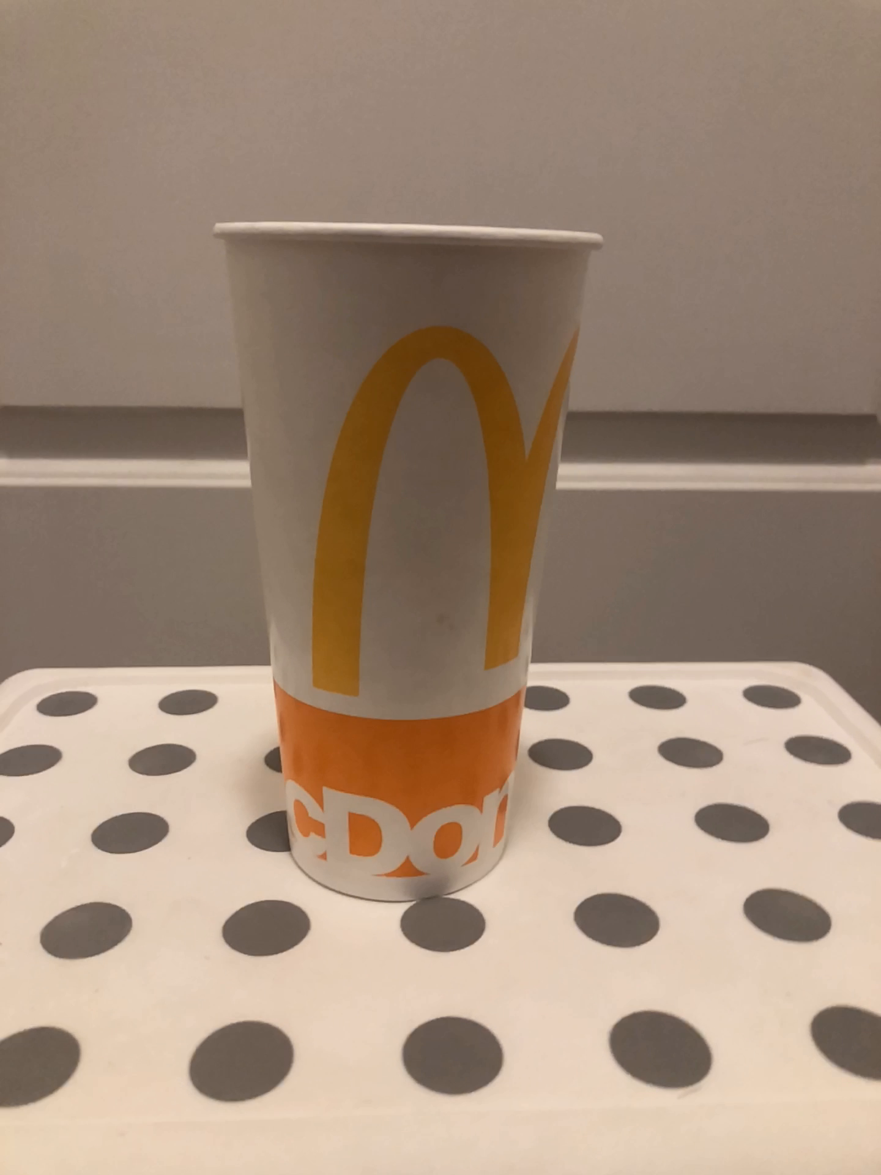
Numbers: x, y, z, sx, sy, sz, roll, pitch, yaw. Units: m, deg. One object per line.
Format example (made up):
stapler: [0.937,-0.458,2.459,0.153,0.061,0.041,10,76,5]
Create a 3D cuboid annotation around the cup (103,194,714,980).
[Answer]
cup: [-0.010,-0.013,0.249,0.100,0.155,0.099,1,19,0]
